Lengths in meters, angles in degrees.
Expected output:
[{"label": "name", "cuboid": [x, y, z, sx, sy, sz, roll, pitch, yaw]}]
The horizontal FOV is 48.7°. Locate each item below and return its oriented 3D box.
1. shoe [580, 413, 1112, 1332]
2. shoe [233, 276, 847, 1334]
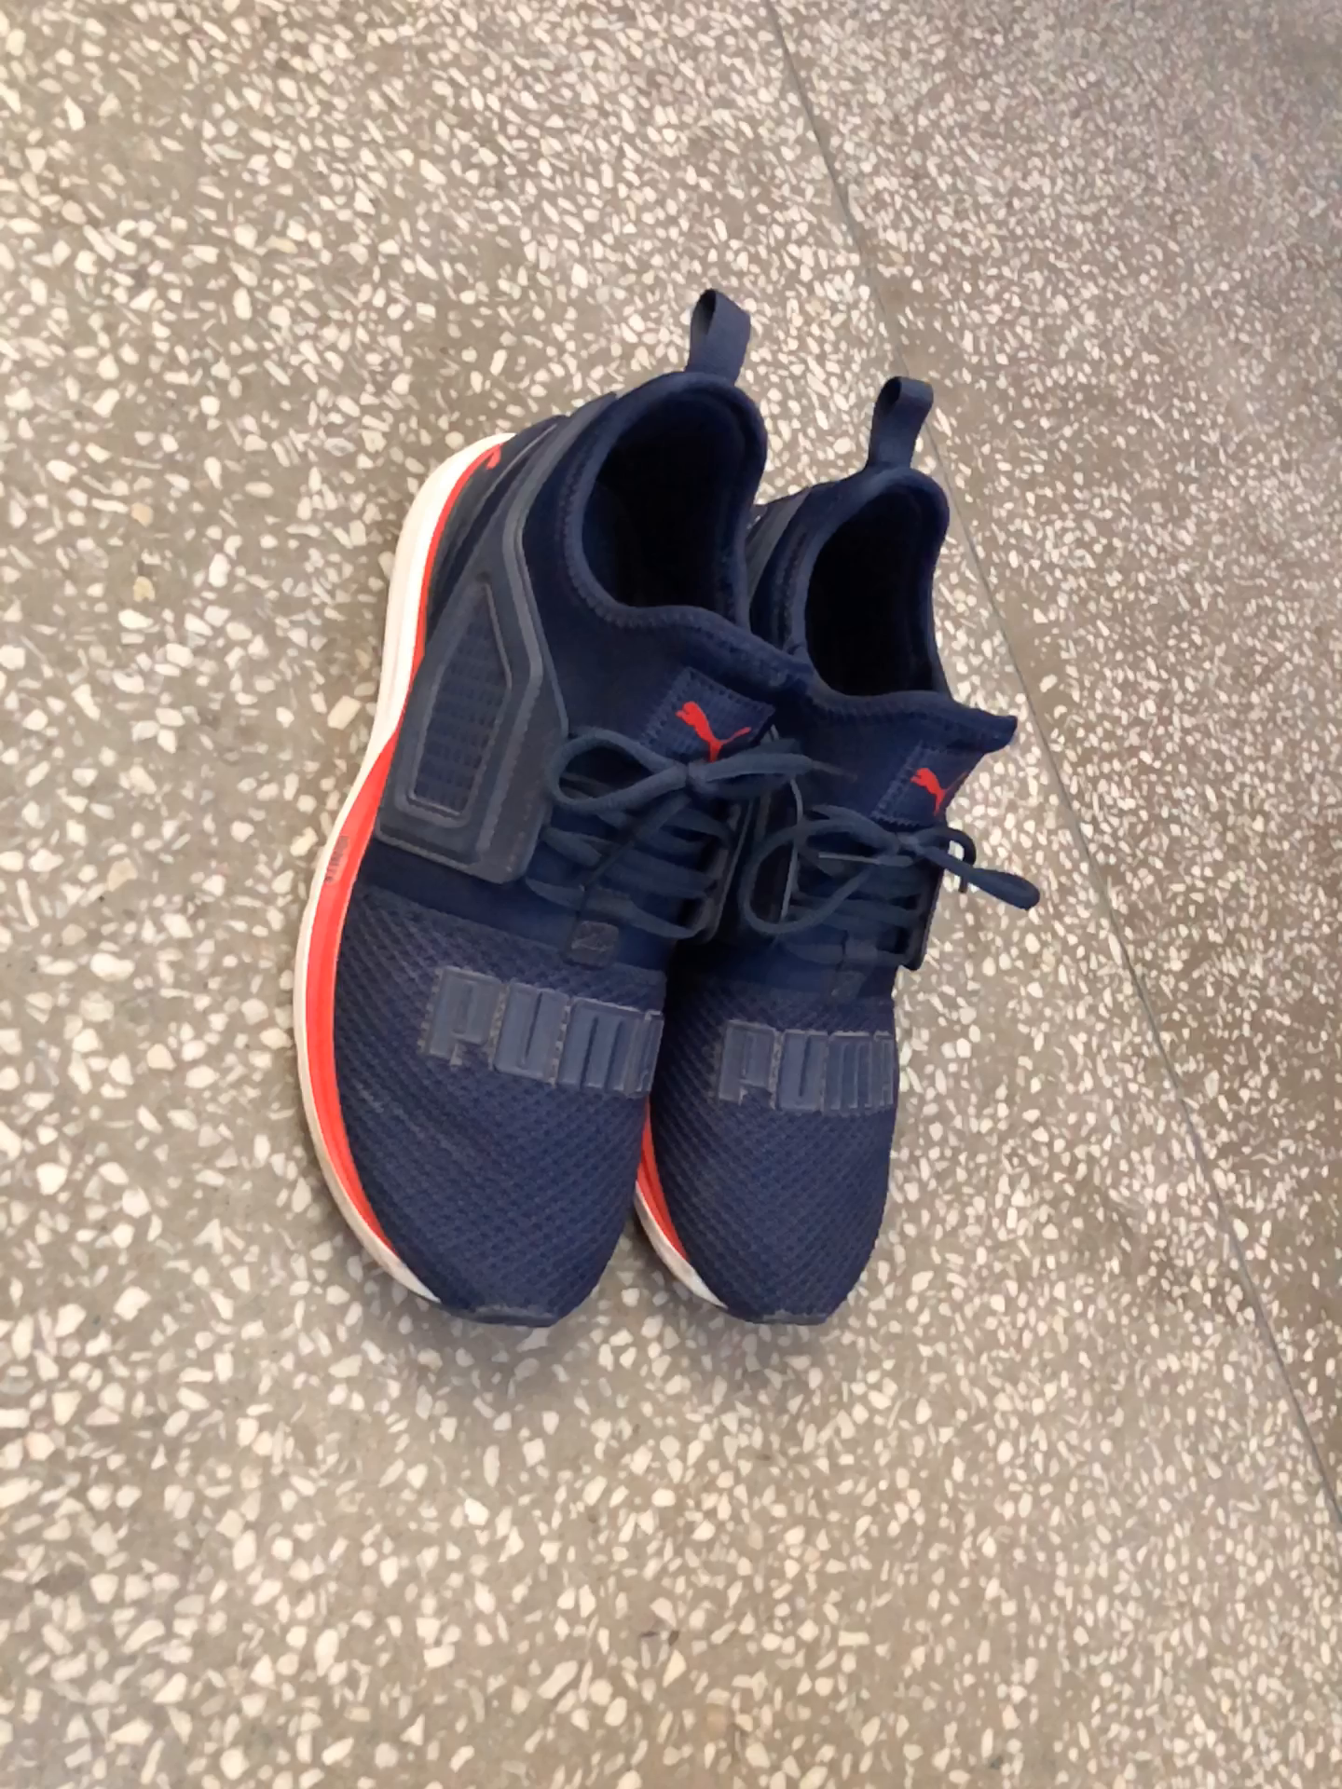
[{"label": "shoe", "cuboid": [0.050, 0.004, 0.472, 0.107, 0.113, 0.257, 12, 70, -33]}, {"label": "shoe", "cuboid": [-0.032, -0.014, 0.418, 0.107, 0.113, 0.257, 16, 68, -32]}]
